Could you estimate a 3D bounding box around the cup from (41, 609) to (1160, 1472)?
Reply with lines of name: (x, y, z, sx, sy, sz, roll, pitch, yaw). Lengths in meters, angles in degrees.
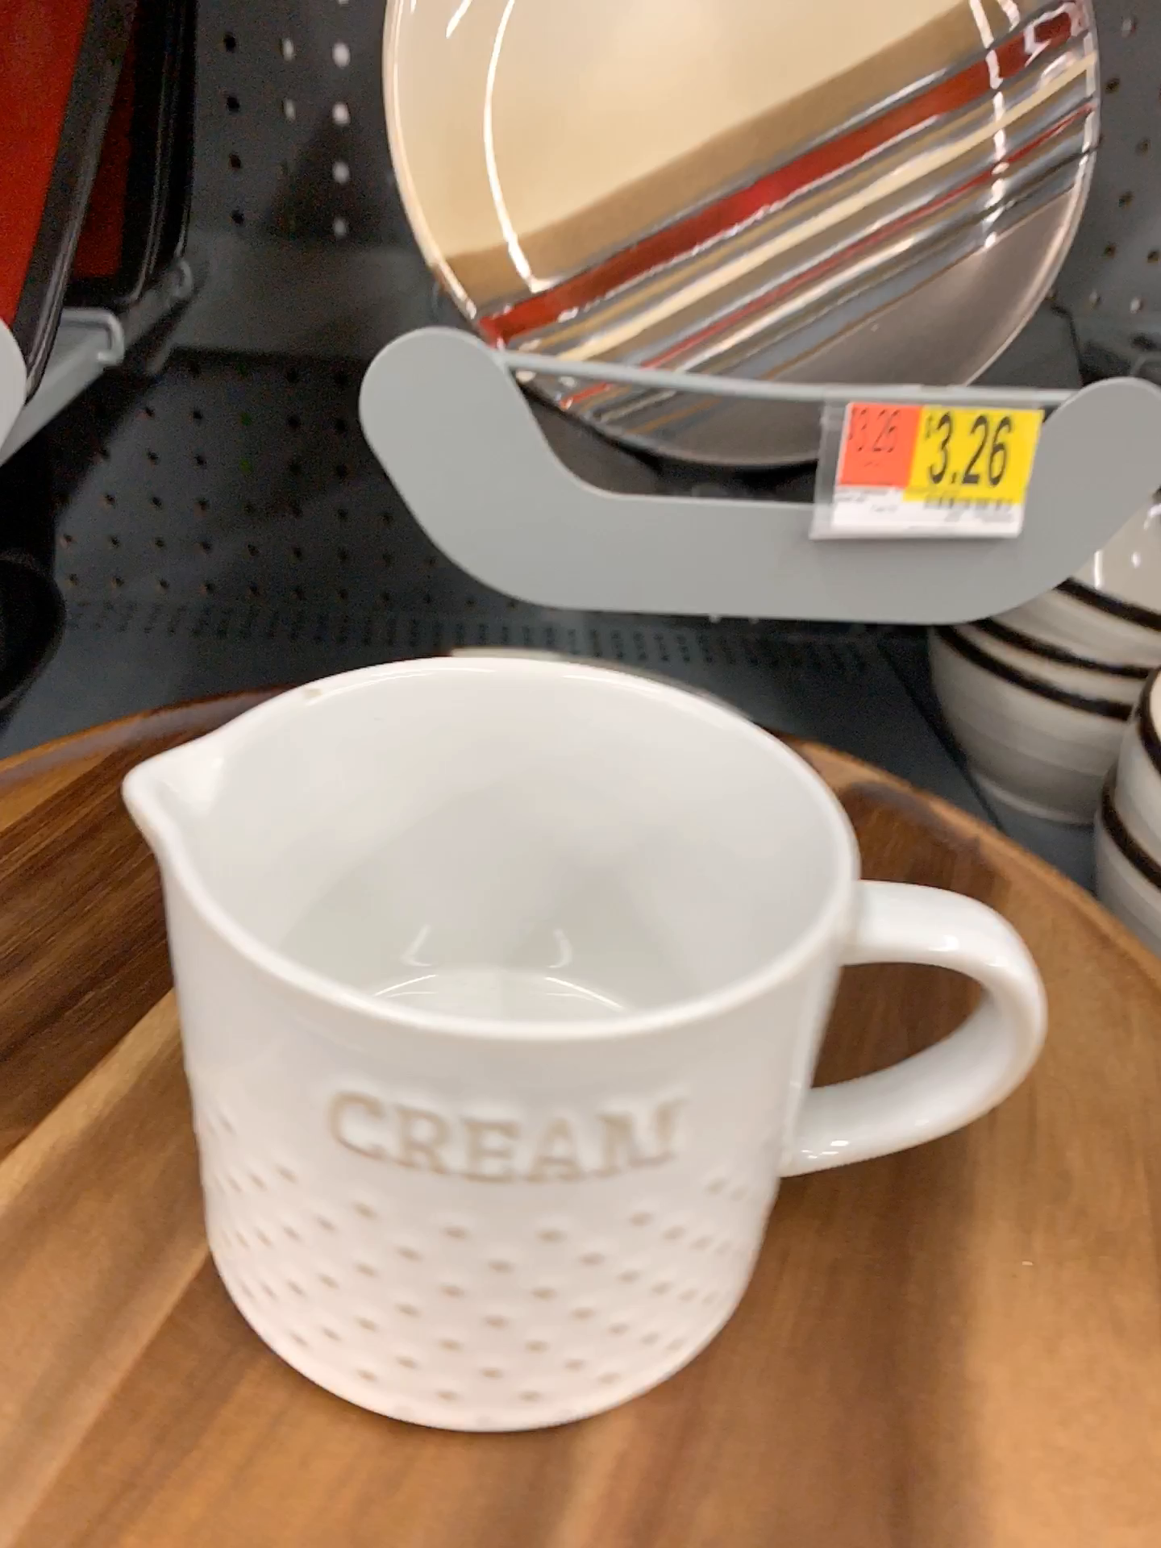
cup: (0.008, 0.041, 0.210, 0.150, 0.090, 0.100, 5, 32, -3)
